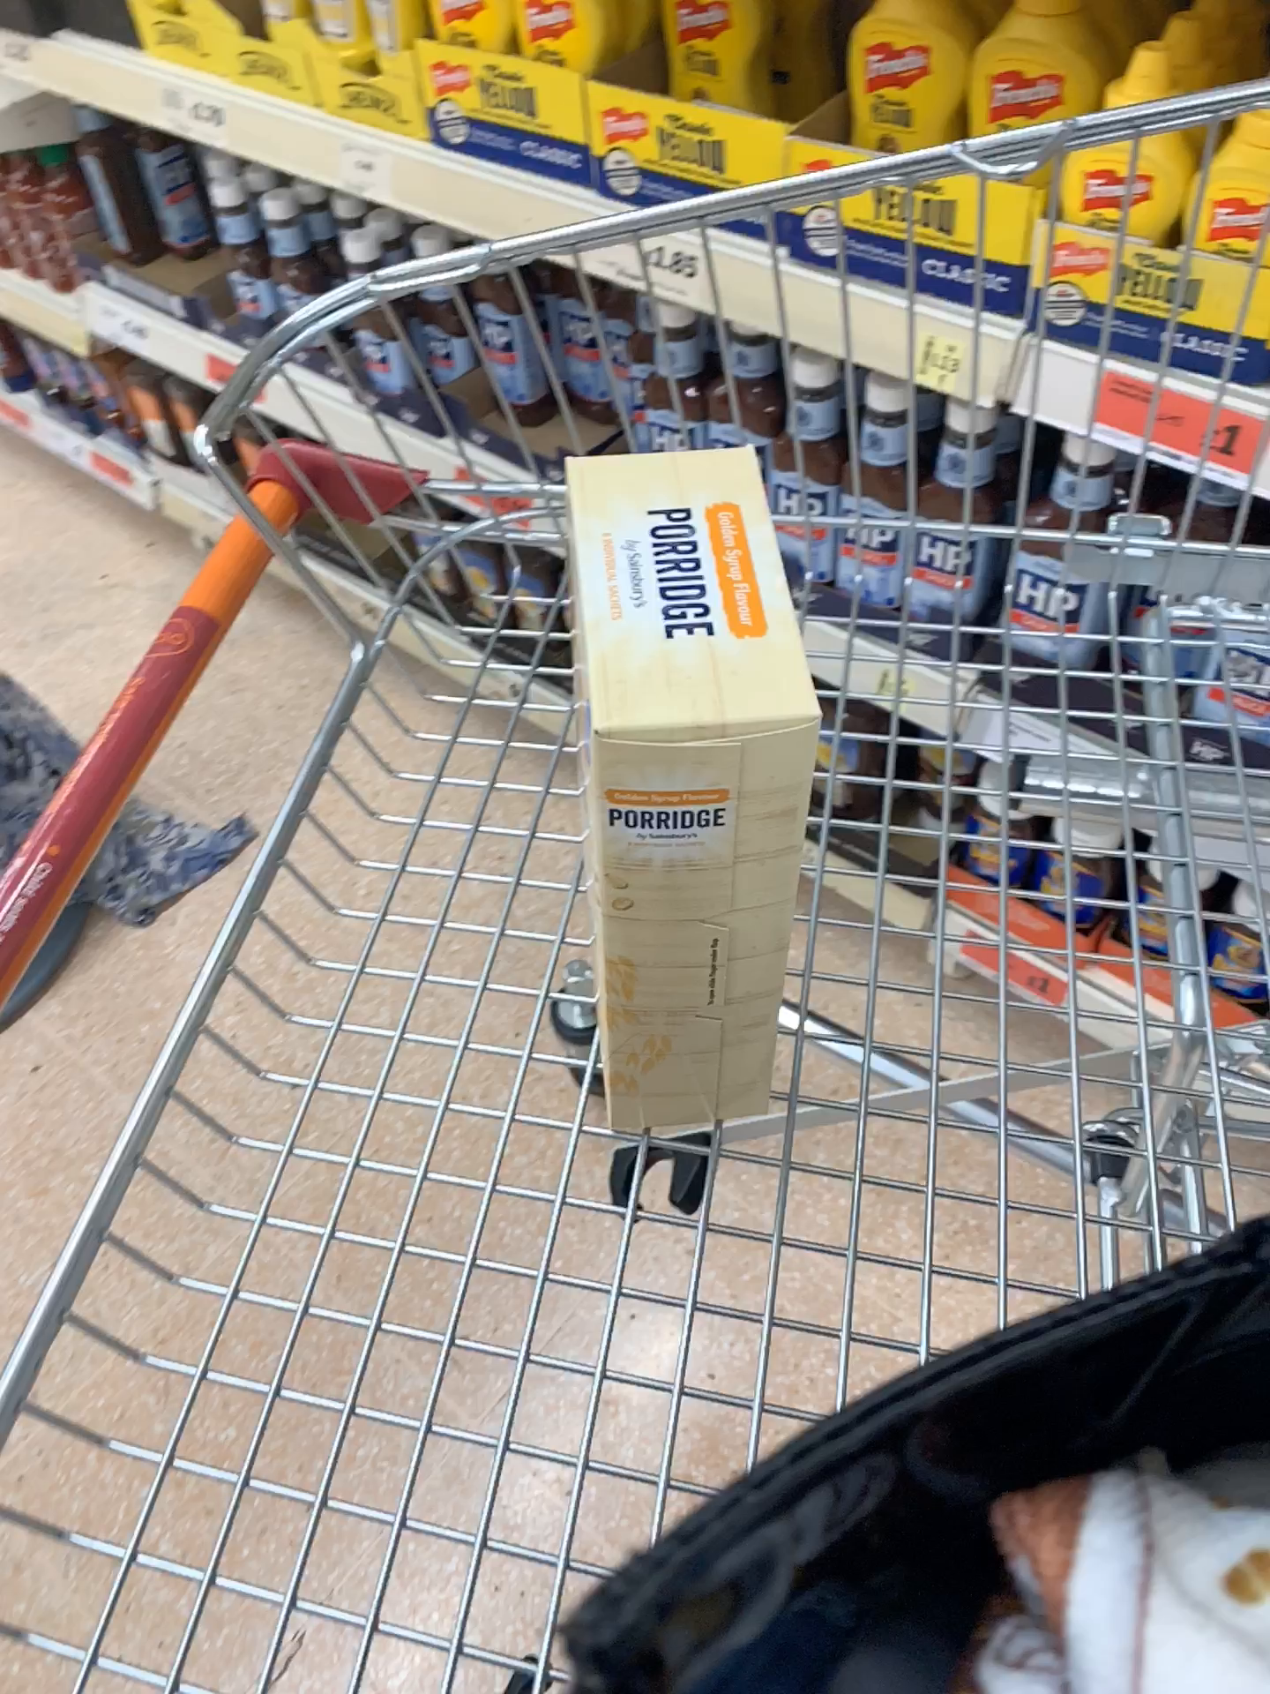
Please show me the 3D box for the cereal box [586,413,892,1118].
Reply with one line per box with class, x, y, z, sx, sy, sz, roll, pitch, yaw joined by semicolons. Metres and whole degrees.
cereal box;0.028;-0.019;0.451;0.070;0.208;0.131;-5;49;-2
